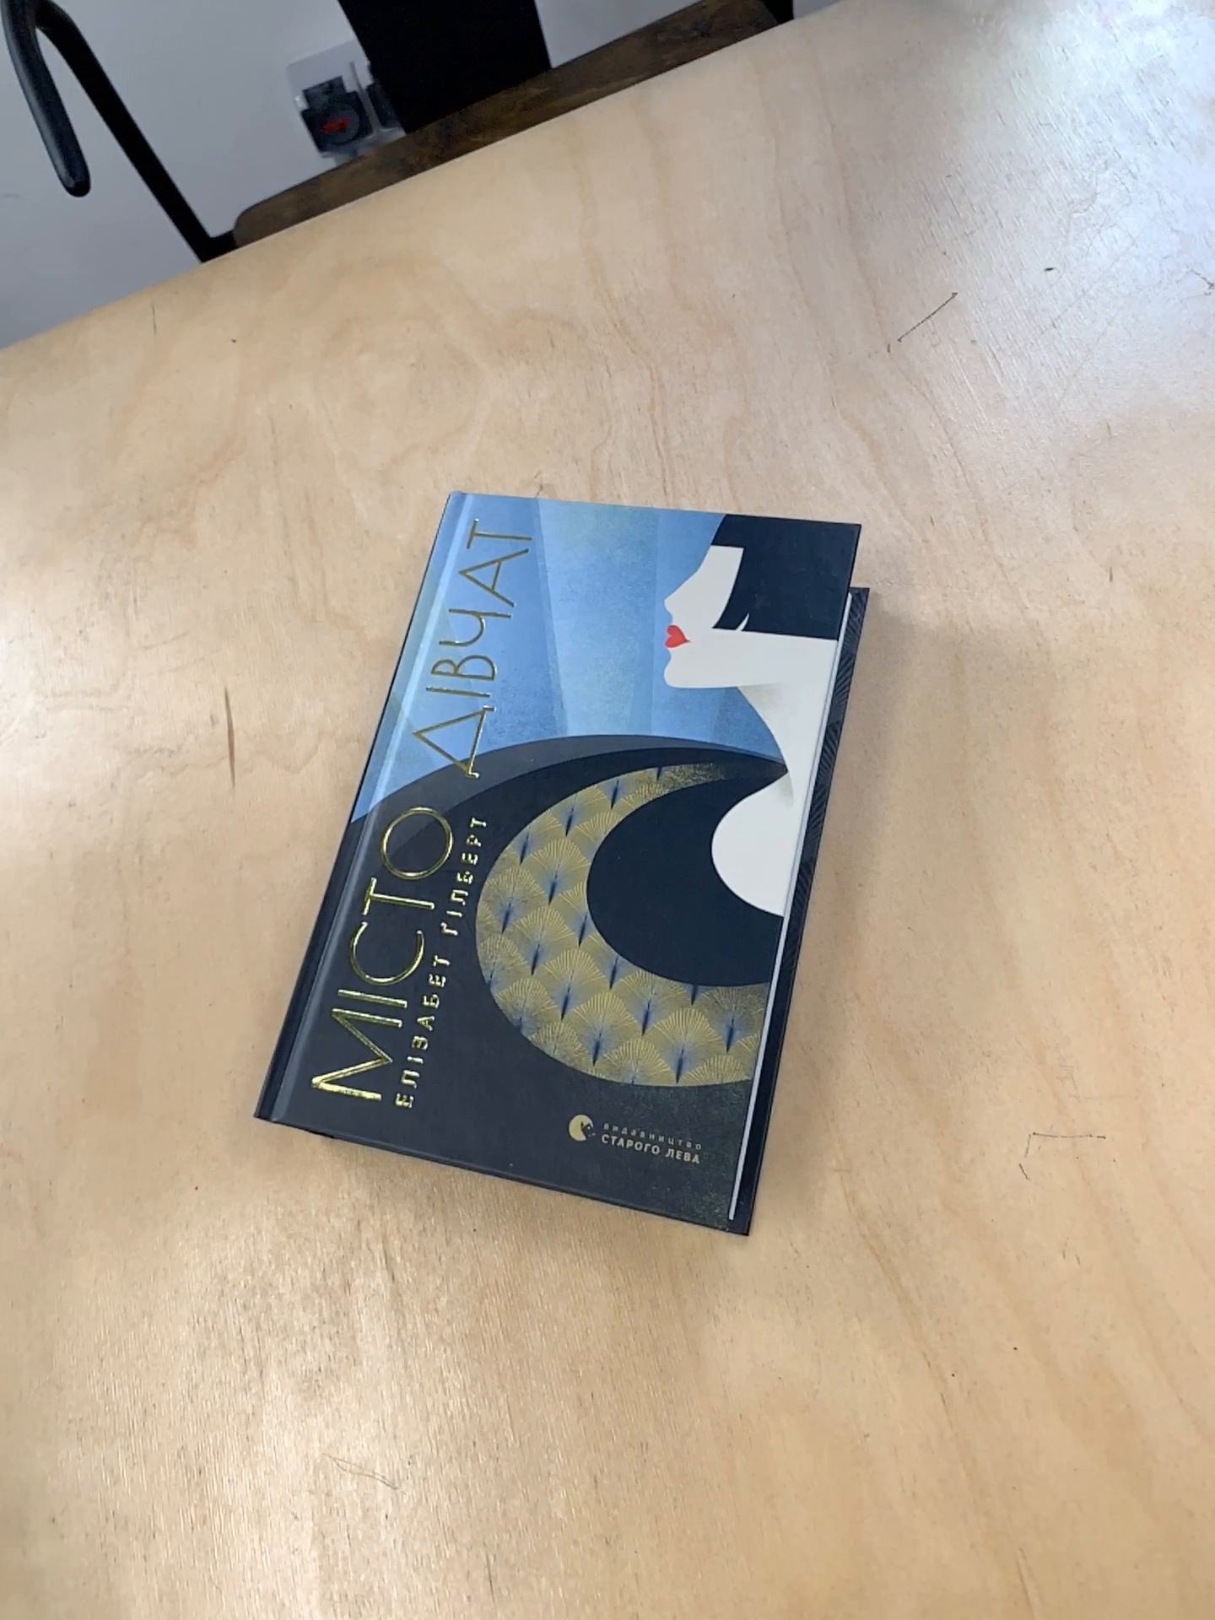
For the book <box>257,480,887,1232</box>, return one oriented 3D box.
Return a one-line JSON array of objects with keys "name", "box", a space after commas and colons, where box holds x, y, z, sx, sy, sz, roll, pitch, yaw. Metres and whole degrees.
[{"name": "book", "box": [-0.004, 0.005, 0.364, 0.135, 0.043, 0.197, 9, 73, 17]}]
